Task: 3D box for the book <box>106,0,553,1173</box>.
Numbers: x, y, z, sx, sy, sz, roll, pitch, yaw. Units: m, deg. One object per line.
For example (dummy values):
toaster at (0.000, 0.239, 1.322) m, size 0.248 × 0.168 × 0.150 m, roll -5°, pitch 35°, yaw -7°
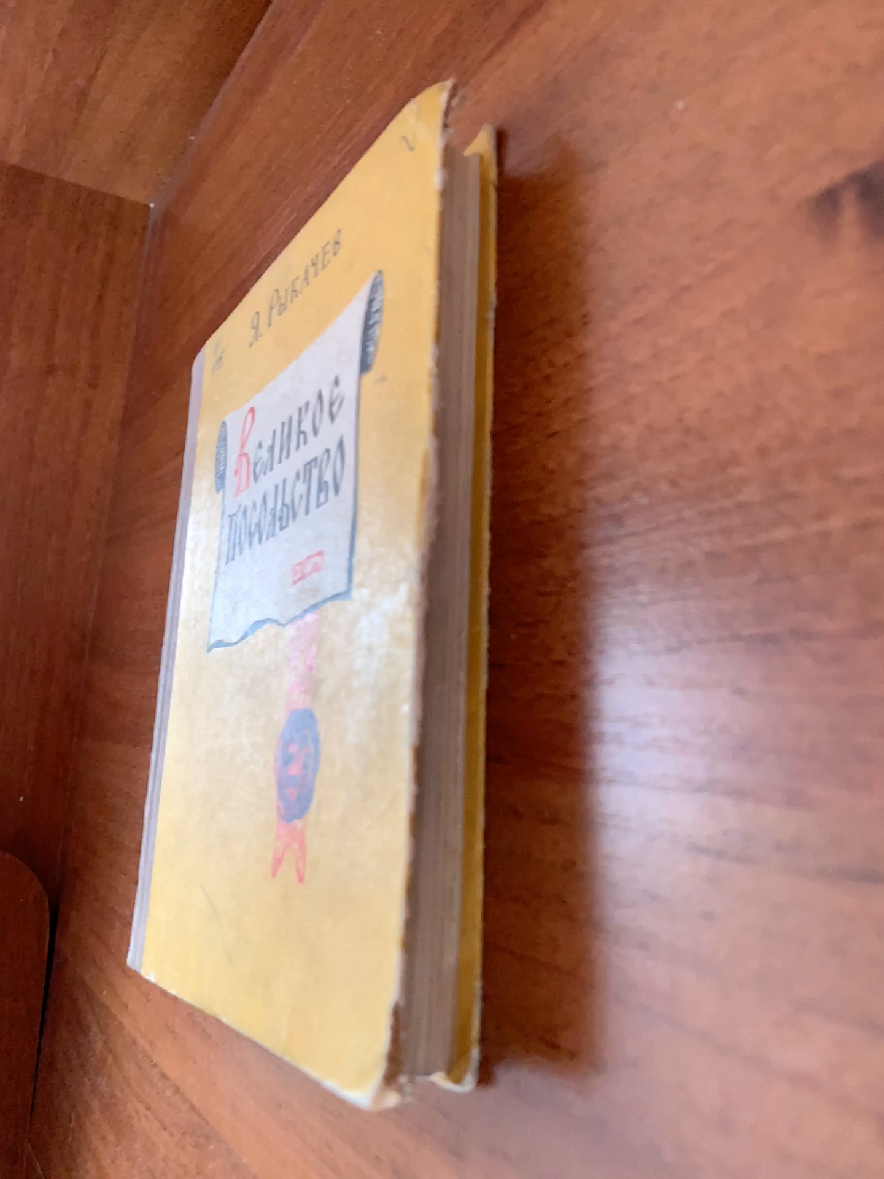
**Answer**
book at (-0.032, -0.001, 0.193) m, size 0.142 × 0.023 × 0.170 m, roll -16°, pitch 69°, yaw 55°
